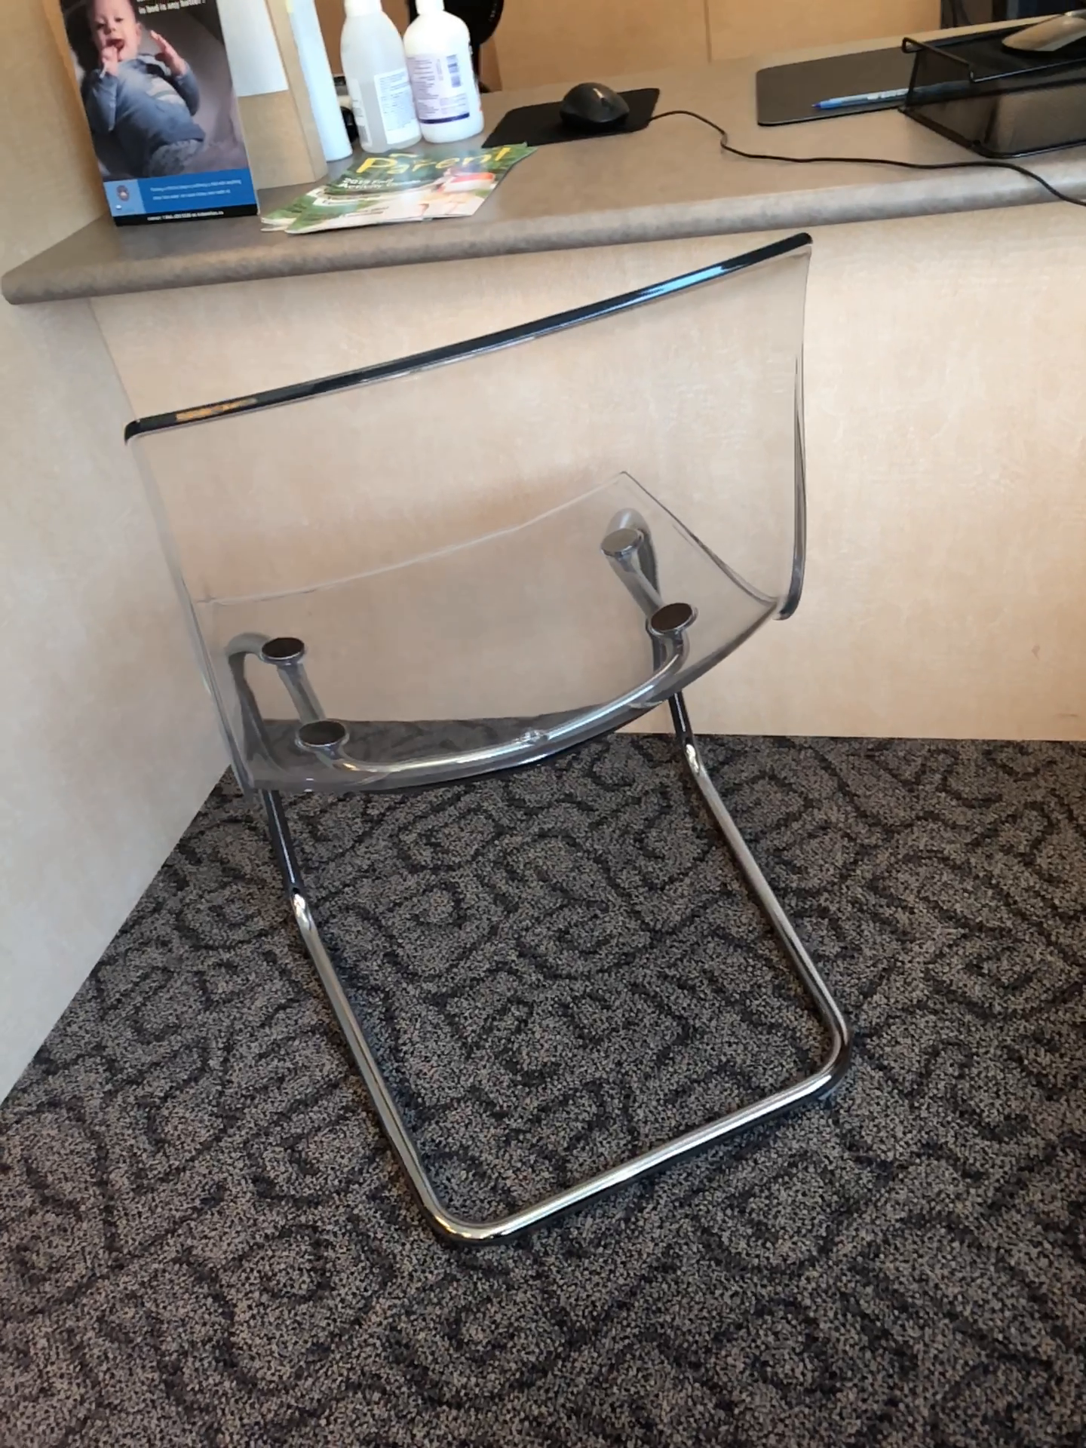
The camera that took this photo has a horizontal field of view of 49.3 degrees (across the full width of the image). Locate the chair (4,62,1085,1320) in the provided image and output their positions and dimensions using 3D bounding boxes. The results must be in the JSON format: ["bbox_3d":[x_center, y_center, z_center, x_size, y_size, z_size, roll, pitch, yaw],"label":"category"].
[{"bbox_3d":[-0.019,-0.070,1.097,0.600,0.804,0.644,-19,37,-11],"label":"chair"}]
